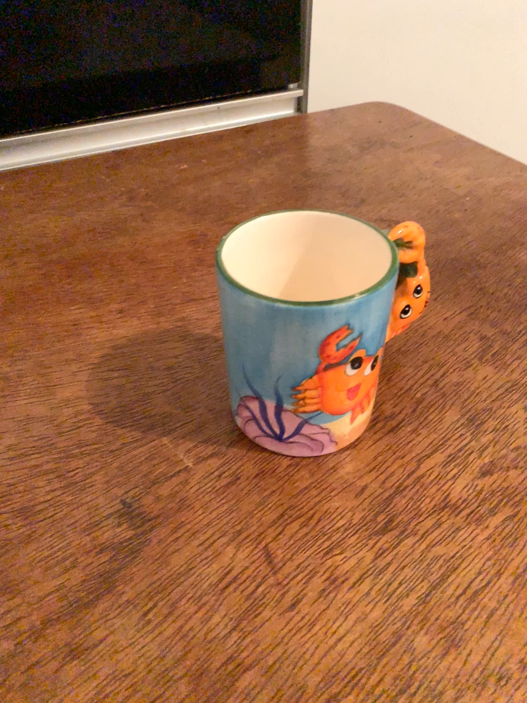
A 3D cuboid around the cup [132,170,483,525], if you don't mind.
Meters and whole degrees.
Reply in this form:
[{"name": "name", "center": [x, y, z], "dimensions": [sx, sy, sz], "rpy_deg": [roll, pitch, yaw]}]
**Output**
[{"name": "cup", "center": [0.023, -0.009, 0.263], "dimensions": [0.130, 0.099, 0.080], "rpy_deg": [-31, 49, -29]}]
